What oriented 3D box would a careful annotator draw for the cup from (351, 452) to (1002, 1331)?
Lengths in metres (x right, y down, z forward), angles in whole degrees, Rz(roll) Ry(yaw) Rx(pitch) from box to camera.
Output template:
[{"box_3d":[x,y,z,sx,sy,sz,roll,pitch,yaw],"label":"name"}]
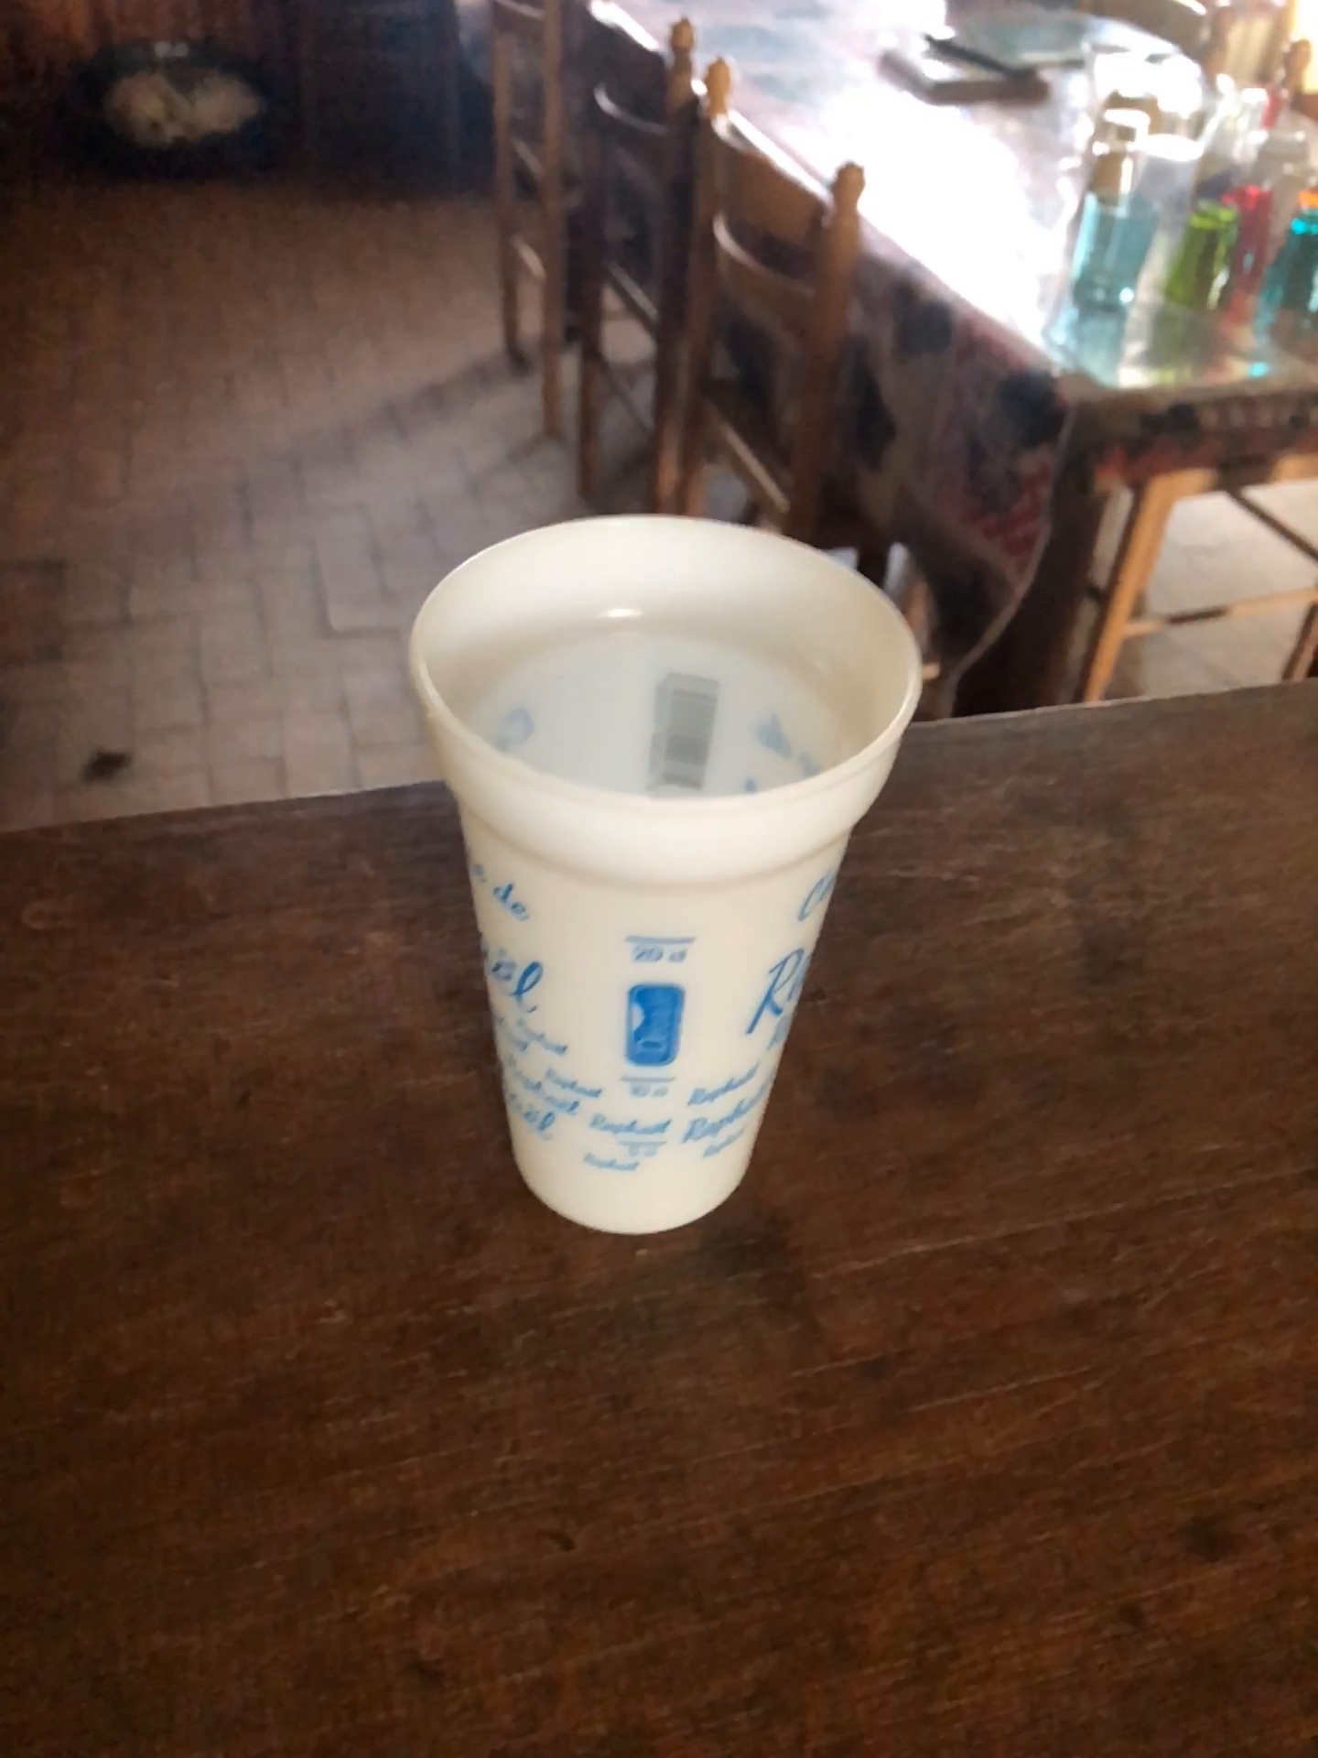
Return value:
[{"box_3d":[0.004,0.003,0.264,0.080,0.119,0.081,2,42,-2],"label":"cup"}]
